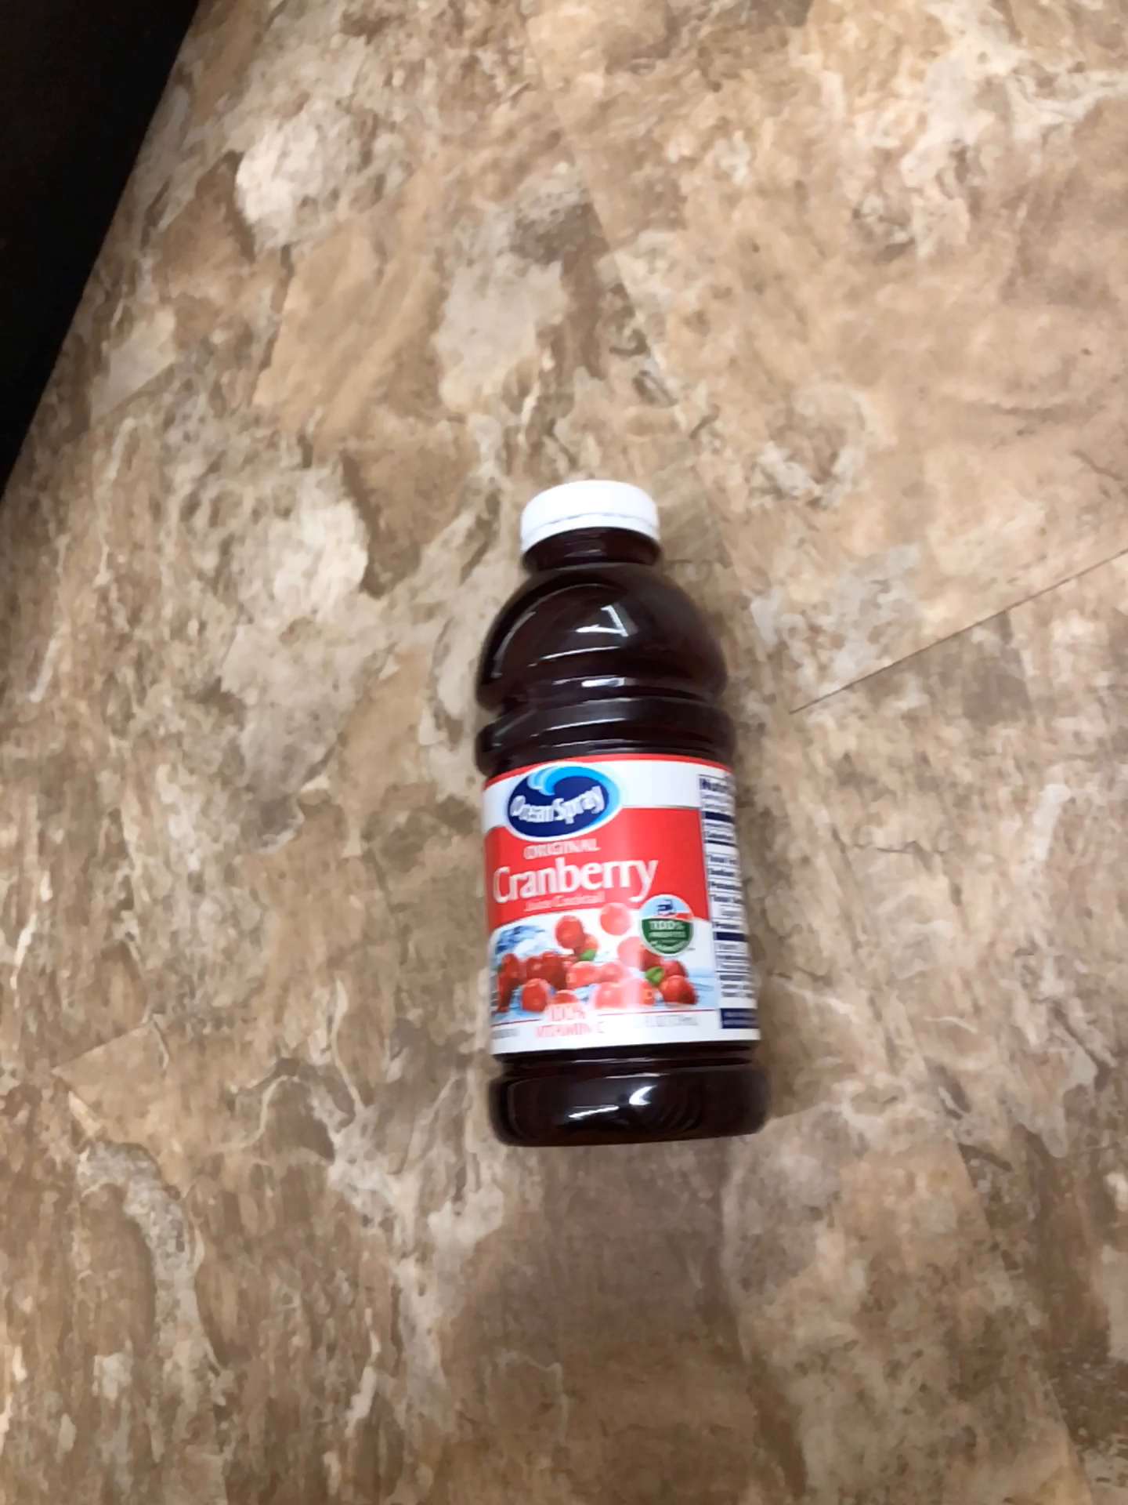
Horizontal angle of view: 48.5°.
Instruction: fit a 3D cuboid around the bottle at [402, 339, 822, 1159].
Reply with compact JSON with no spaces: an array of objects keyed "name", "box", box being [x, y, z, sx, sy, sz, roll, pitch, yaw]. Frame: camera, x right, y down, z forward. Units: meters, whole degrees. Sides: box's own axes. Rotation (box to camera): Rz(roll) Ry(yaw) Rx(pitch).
[{"name":"bottle","box":[0.012,0.005,0.391,0.089,0.083,0.226,-11,73,30]}]
